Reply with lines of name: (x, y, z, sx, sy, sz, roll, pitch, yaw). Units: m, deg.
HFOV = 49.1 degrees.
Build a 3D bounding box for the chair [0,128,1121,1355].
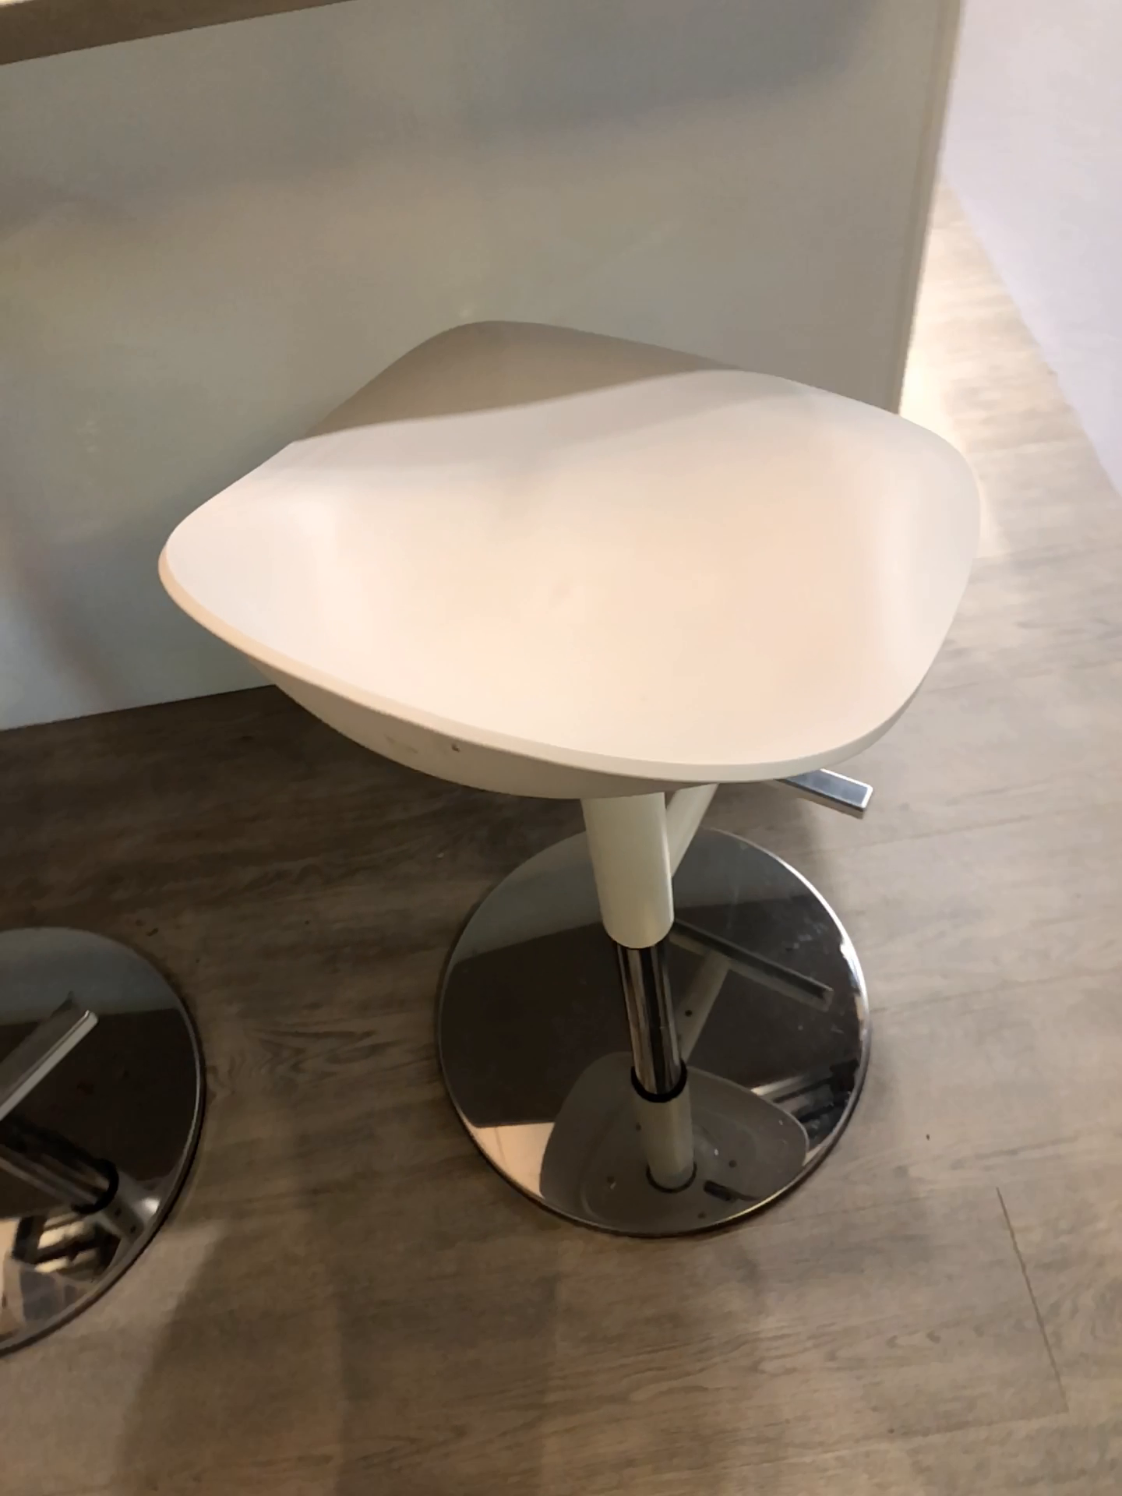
chair: (0.045, 0.057, 0.872, 0.441, 0.716, 0.441, 18, 61, 18)
